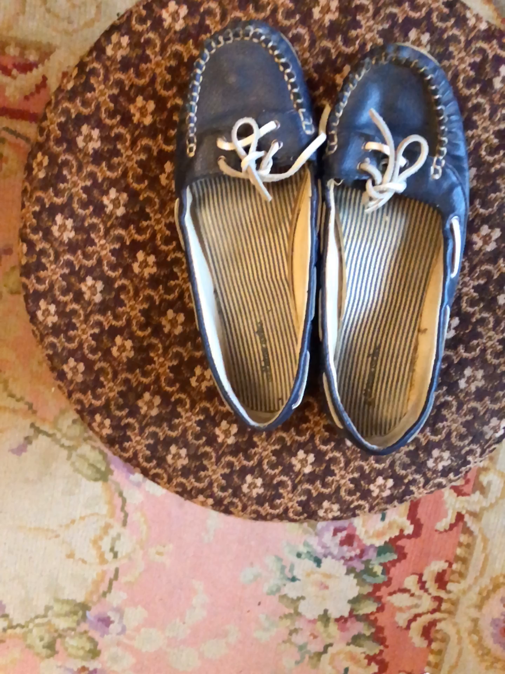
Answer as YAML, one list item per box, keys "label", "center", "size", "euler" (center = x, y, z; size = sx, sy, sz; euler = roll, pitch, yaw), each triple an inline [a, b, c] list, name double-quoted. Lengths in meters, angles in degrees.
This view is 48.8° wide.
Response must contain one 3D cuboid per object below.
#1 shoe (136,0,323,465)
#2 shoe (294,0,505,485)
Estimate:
- label: "shoe"
  center: [-0.006, -0.062, 0.328]
  size: [0.090, 0.090, 0.250]
  euler: [0, 99, 5]
- label: "shoe"
  center: [0.083, -0.050, 0.338]
  size: [0.090, 0.100, 0.250]
  euler: [2, 105, -2]
